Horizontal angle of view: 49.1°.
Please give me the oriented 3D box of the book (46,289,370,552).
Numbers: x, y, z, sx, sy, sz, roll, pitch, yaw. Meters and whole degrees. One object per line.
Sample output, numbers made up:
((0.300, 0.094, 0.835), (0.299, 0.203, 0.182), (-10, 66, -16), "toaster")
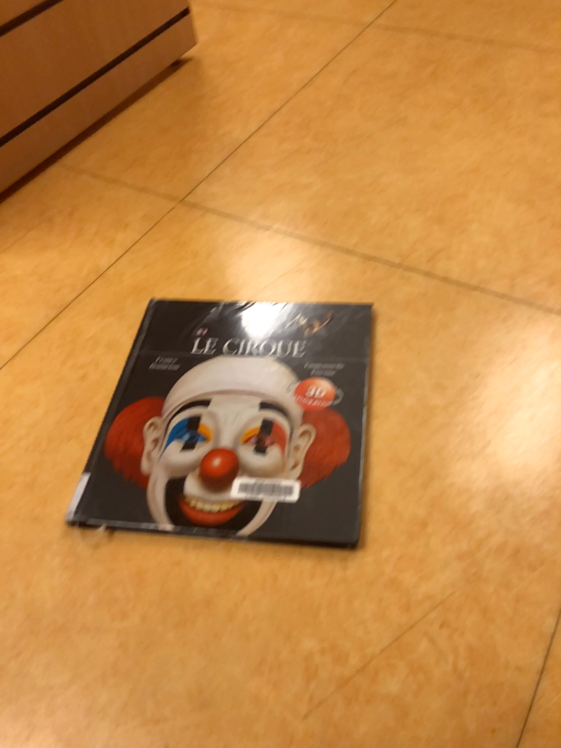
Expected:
((-0.042, 0.019, 0.491), (0.214, 0.012, 0.234), (3, 50, 9), "book")
